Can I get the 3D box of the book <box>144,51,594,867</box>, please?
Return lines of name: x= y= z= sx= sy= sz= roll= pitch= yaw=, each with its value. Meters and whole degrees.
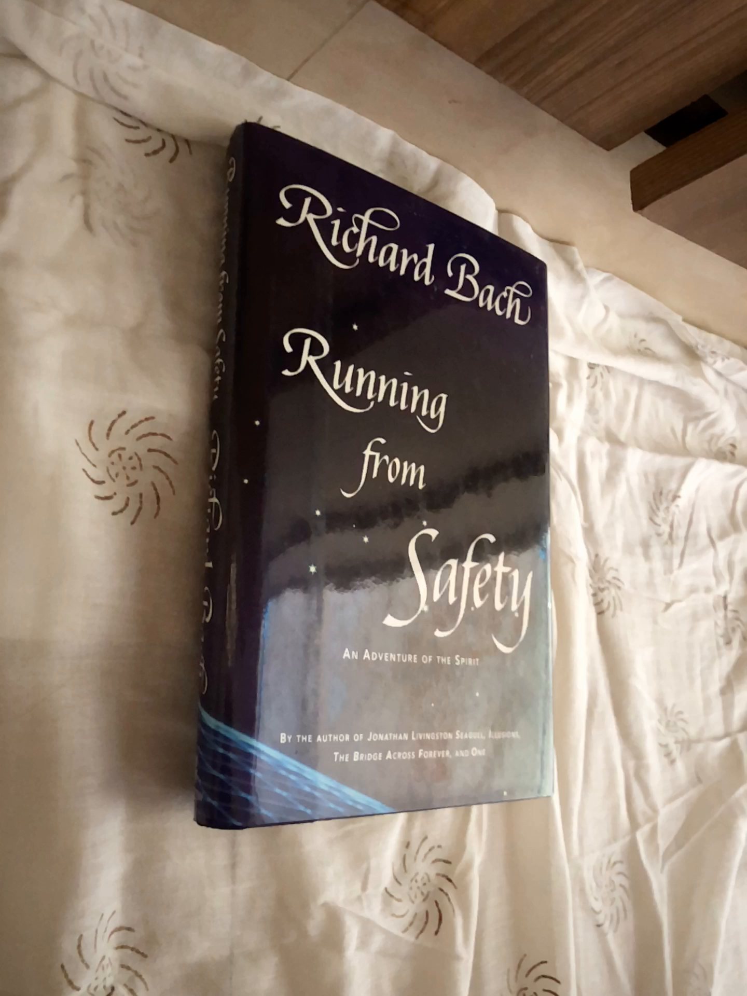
book: x=0.013 y=-0.007 z=0.313 sx=0.171 sy=0.040 sz=0.250 roll=16 pitch=68 yaw=-42
